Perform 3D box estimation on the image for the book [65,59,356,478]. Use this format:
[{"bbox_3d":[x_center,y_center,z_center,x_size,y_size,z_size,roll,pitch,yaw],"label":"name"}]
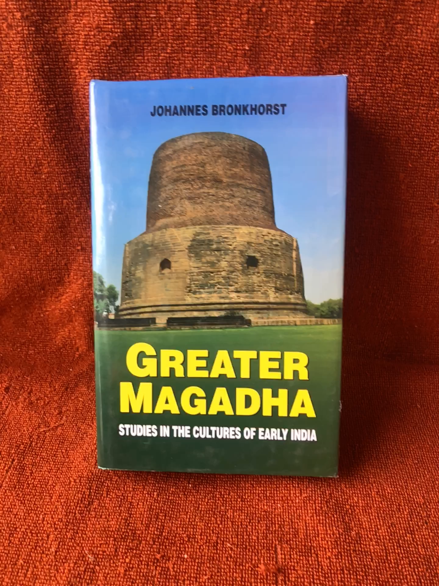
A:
[{"bbox_3d":[-0.006,-0.011,0.277,0.150,0.220,0.030,1,6,4],"label":"book"}]
